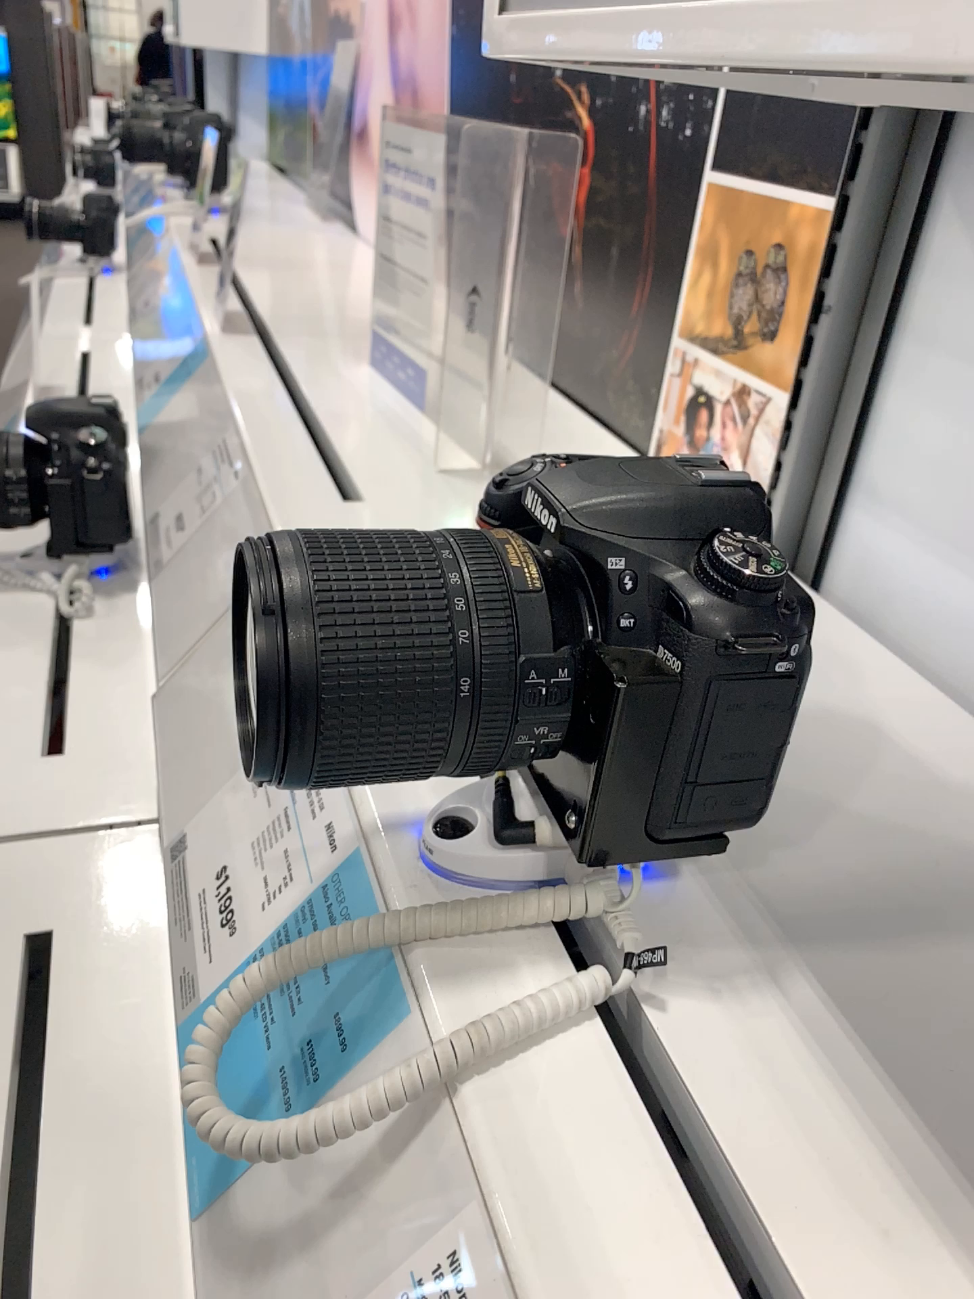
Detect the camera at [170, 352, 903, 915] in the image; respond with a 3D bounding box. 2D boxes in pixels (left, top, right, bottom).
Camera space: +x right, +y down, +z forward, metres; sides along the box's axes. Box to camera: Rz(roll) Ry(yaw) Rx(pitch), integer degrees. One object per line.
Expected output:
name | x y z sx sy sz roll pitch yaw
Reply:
camera | 0.000 -0.014 0.312 0.172 0.107 0.131 -1 28 -23
